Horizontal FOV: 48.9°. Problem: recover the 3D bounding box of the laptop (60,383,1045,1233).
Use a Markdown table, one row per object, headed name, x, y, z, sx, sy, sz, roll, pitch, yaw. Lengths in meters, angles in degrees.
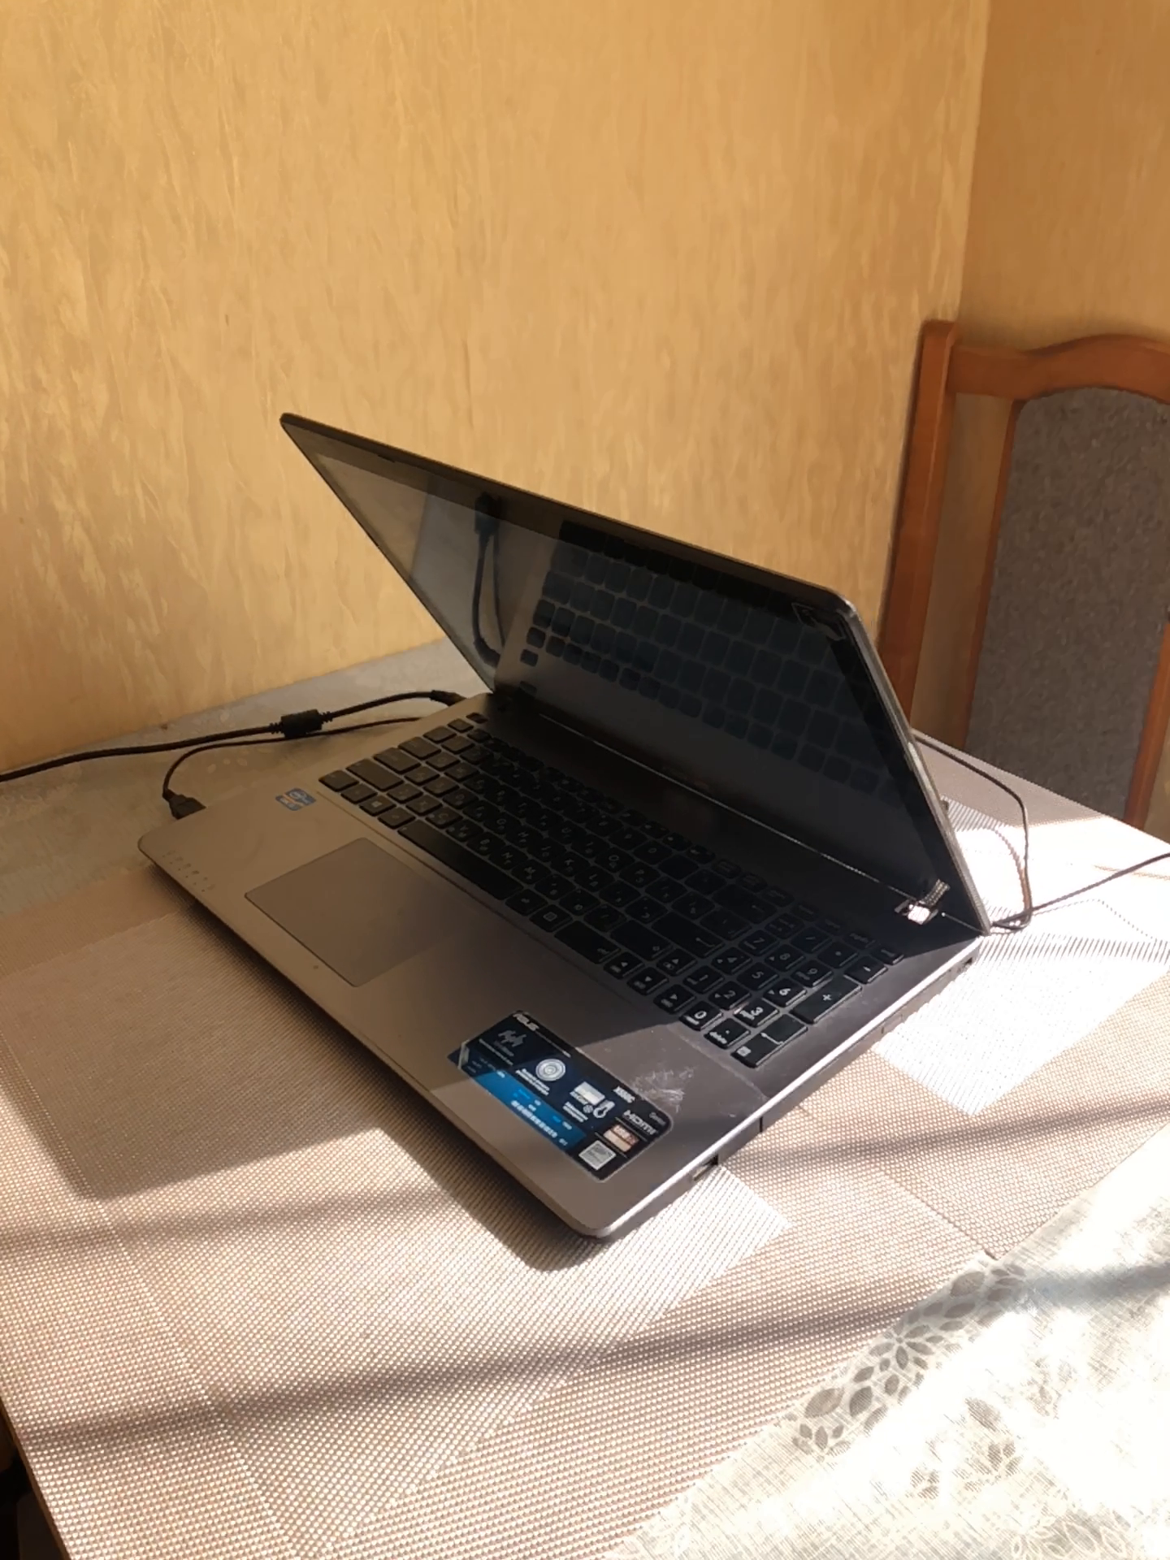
| name | x | y | z | sx | sy | sz | roll | pitch | yaw |
| --- | --- | --- | --- | --- | --- | --- | --- | --- | --- |
| laptop | -0.031 | -0.032 | 0.601 | 0.241 | 0.197 | 0.365 | -26 | 37 | -34 |
